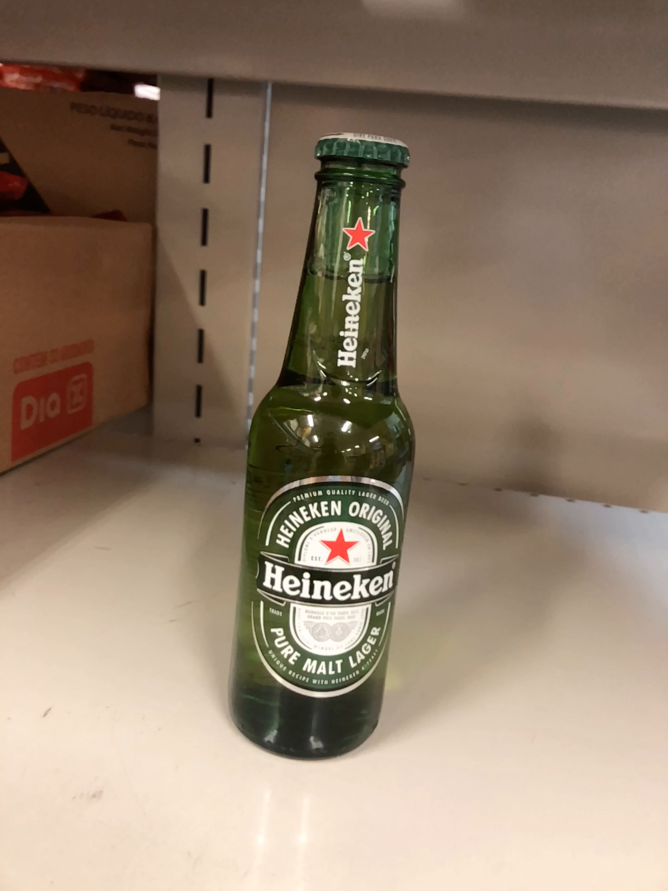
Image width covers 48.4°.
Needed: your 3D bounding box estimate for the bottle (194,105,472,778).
[{"bbox_3d":[-0.009,0.002,0.245,0.060,0.199,0.060,5,17,-2],"label":"bottle"}]
